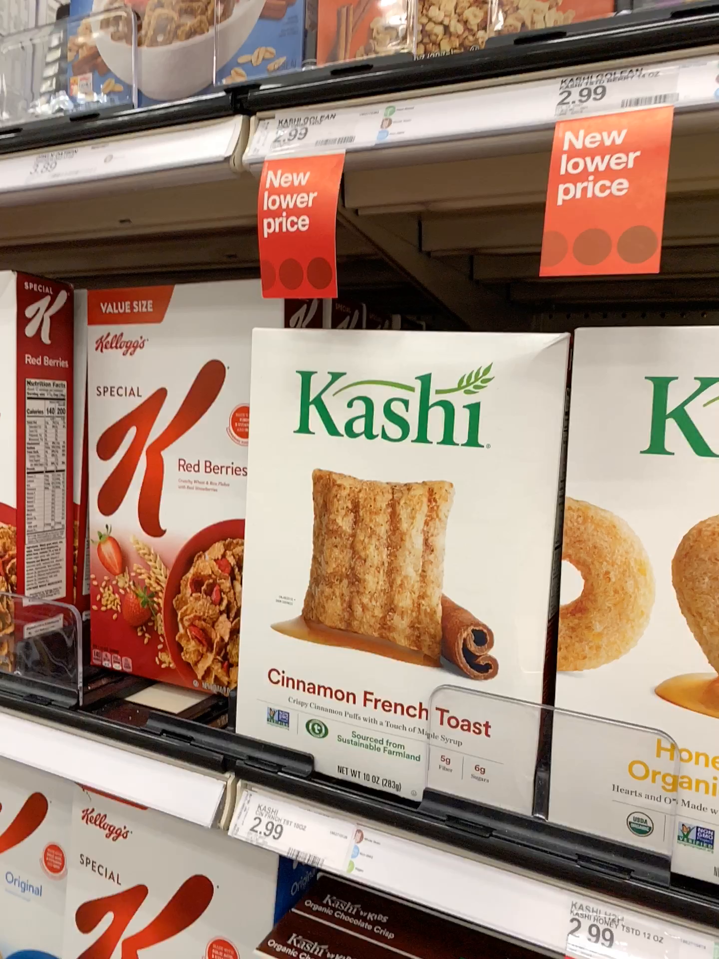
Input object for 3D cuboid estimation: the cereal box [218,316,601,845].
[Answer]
[{"bbox_3d":[0.022,0.044,0.447,0.210,0.270,0.060,5,5,27],"label":"cereal box"}]
